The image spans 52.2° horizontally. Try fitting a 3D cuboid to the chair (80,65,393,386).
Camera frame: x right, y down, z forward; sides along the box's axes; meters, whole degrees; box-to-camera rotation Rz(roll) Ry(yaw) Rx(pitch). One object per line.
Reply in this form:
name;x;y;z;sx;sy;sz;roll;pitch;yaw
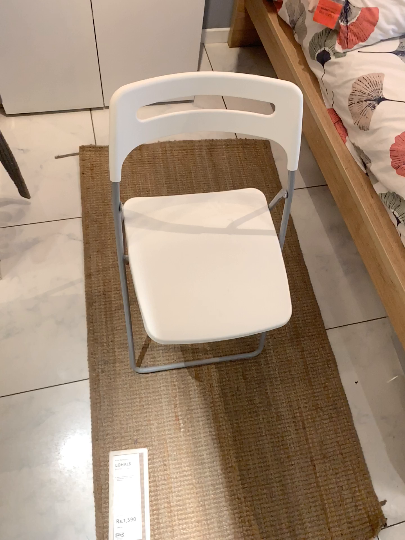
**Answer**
chair;0.001;-0.042;0.976;0.450;0.659;0.431;-6;64;-9
